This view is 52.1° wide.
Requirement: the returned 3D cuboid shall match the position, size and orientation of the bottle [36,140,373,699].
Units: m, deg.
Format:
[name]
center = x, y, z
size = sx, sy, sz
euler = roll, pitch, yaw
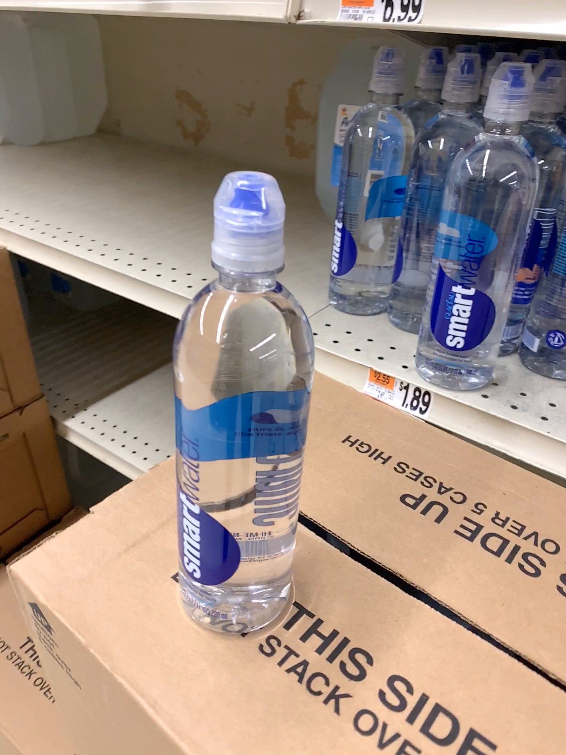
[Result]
[bottle]
center = -0.033, 0.028, 0.287
size = 0.090, 0.249, 0.090
euler = 1, 33, -1
